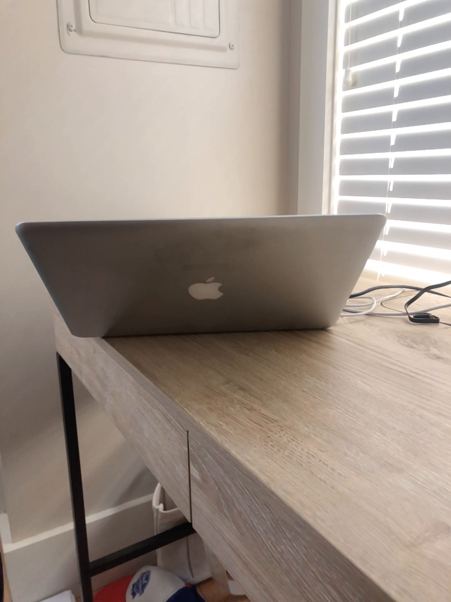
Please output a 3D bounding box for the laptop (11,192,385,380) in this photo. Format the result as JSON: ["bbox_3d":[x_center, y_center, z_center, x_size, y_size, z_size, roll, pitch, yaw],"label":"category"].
[{"bbox_3d":[-0.032,-0.049,0.605,0.319,0.133,0.347,-2,16,-4],"label":"laptop"}]
